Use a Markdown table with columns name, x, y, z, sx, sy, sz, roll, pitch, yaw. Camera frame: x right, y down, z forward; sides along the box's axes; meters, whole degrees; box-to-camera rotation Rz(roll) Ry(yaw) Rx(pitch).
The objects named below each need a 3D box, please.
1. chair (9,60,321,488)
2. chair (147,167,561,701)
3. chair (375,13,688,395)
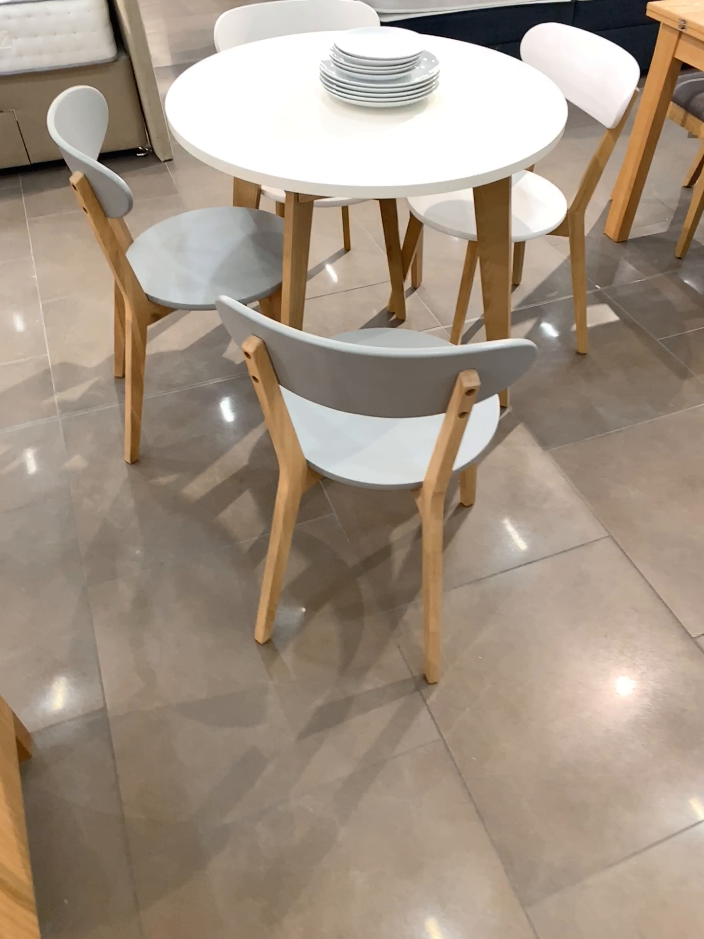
| name | x | y | z | sx | sy | sz | roll | pitch | yaw |
| --- | --- | --- | --- | --- | --- | --- | --- | --- | --- |
| chair | -0.427 | -0.475 | 1.791 | 0.541 | 0.798 | 0.523 | -15 | 48 | -14 |
| chair | 0.042 | -0.042 | 1.365 | 0.519 | 0.798 | 0.535 | 10 | 47 | 9 |
| chair | 0.420 | -0.736 | 2.018 | 0.541 | 0.798 | 0.523 | -14 | 48 | -13 |
